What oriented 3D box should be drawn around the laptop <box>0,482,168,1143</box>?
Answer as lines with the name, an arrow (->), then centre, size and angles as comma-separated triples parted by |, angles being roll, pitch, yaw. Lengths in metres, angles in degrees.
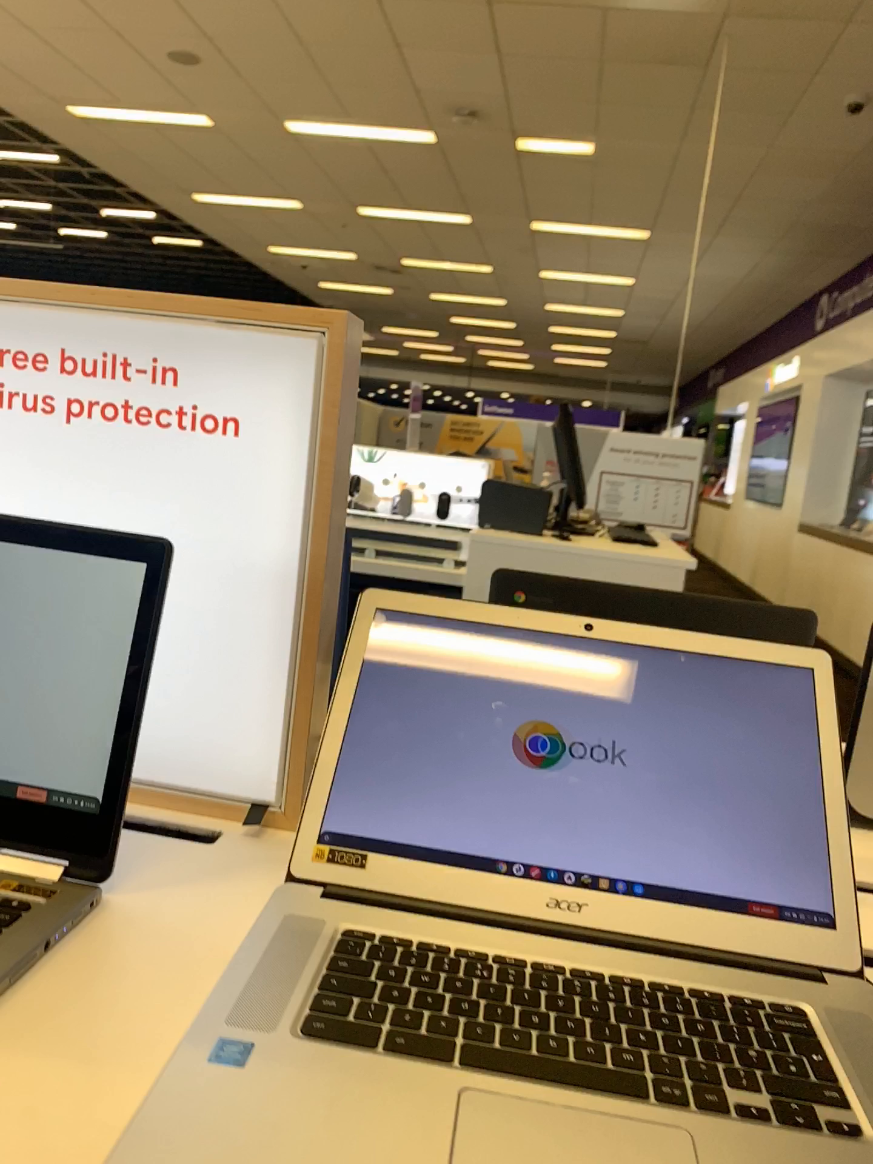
laptop -> -0.364, 0.076, 0.495 | 0.307, 0.217, 0.278 | 8, 8, 6

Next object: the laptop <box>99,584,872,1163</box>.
laptop -> 0.090, 0.143, 0.532 | 0.375, 0.175, 0.426 | 7, 9, 5
